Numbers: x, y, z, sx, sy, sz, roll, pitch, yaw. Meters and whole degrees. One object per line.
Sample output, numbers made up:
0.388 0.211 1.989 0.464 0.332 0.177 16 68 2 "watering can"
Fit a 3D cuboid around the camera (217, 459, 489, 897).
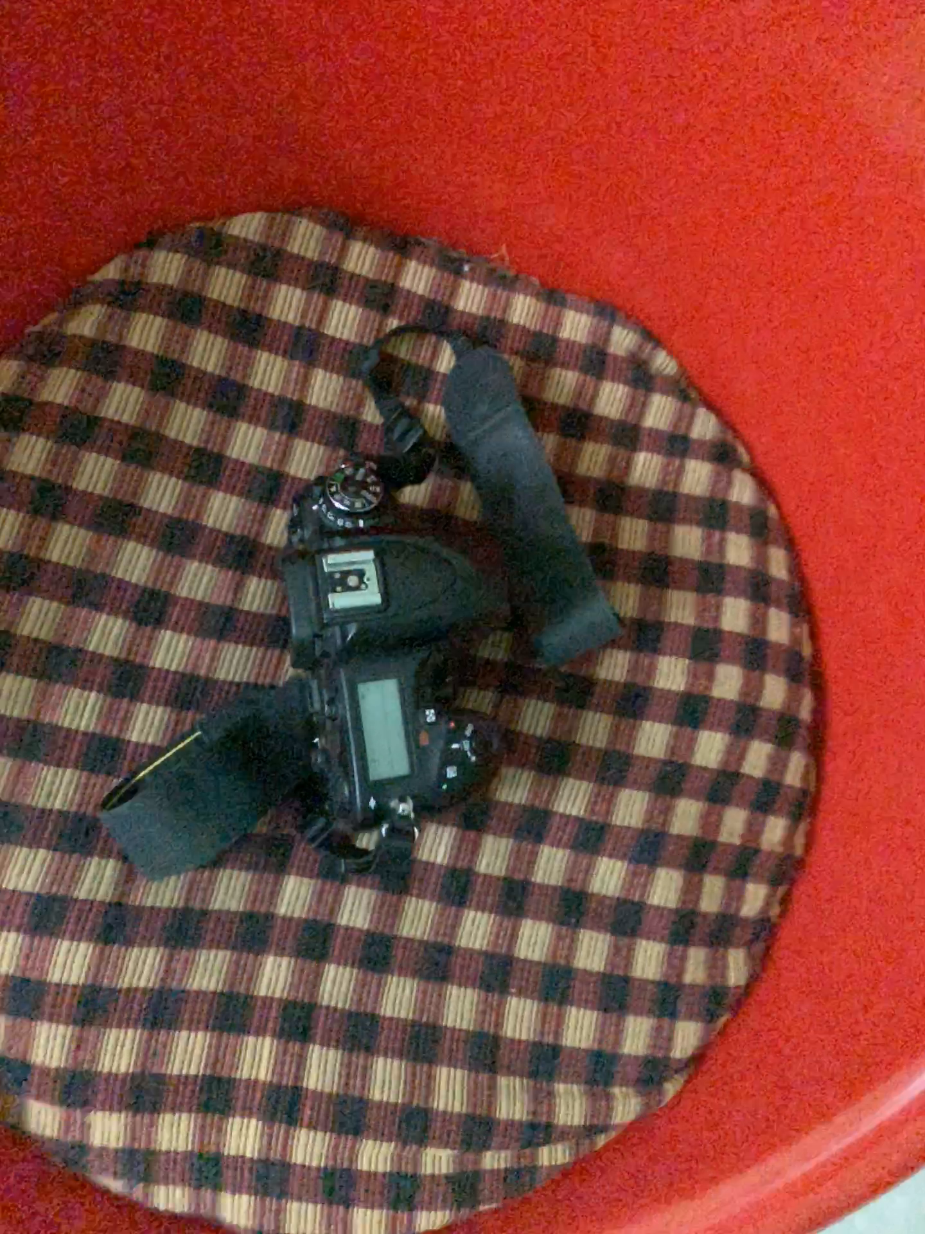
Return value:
-0.044 0.021 0.362 0.080 0.090 0.140 -4 86 -11 "camera"
